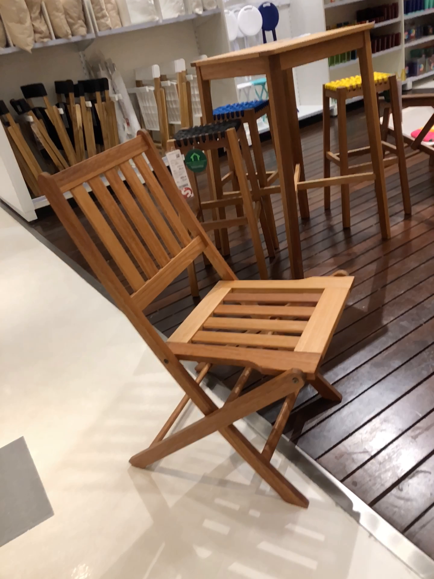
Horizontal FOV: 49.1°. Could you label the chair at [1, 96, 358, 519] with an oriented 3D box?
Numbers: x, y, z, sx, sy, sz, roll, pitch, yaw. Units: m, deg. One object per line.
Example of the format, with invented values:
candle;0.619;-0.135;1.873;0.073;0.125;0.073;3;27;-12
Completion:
chair;-0.004;0.033;1.264;0.601;0.863;0.503;2;30;27
